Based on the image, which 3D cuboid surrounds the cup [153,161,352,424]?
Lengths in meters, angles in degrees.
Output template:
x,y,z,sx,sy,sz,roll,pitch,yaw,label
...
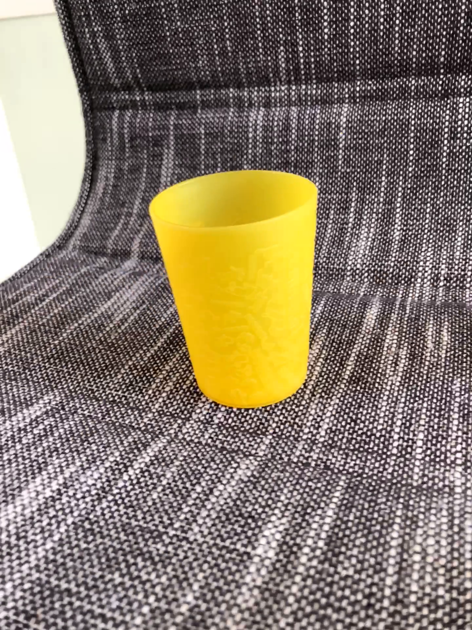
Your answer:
x,y,z,sx,sy,sz,roll,pitch,yaw,label
0.013,-0.011,0.206,0.060,0.080,0.060,-5,32,3,cup
